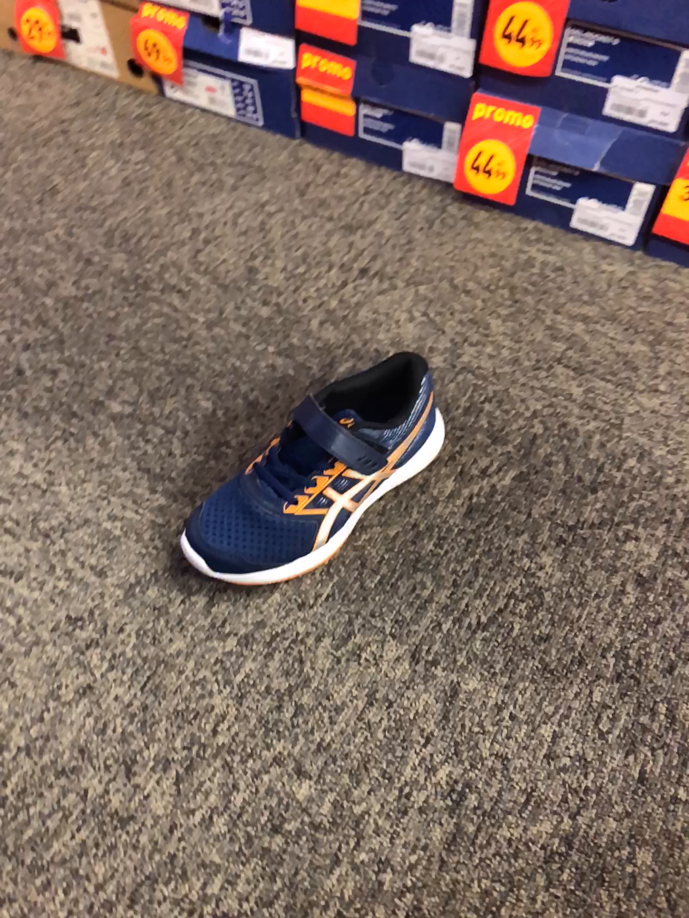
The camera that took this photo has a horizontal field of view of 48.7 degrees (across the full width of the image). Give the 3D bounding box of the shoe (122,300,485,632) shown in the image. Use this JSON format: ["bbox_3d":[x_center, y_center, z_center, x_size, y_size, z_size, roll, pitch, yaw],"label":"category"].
[{"bbox_3d":[-0.021,-0.001,0.542,0.236,0.100,0.090,-34,60,-23],"label":"shoe"}]
